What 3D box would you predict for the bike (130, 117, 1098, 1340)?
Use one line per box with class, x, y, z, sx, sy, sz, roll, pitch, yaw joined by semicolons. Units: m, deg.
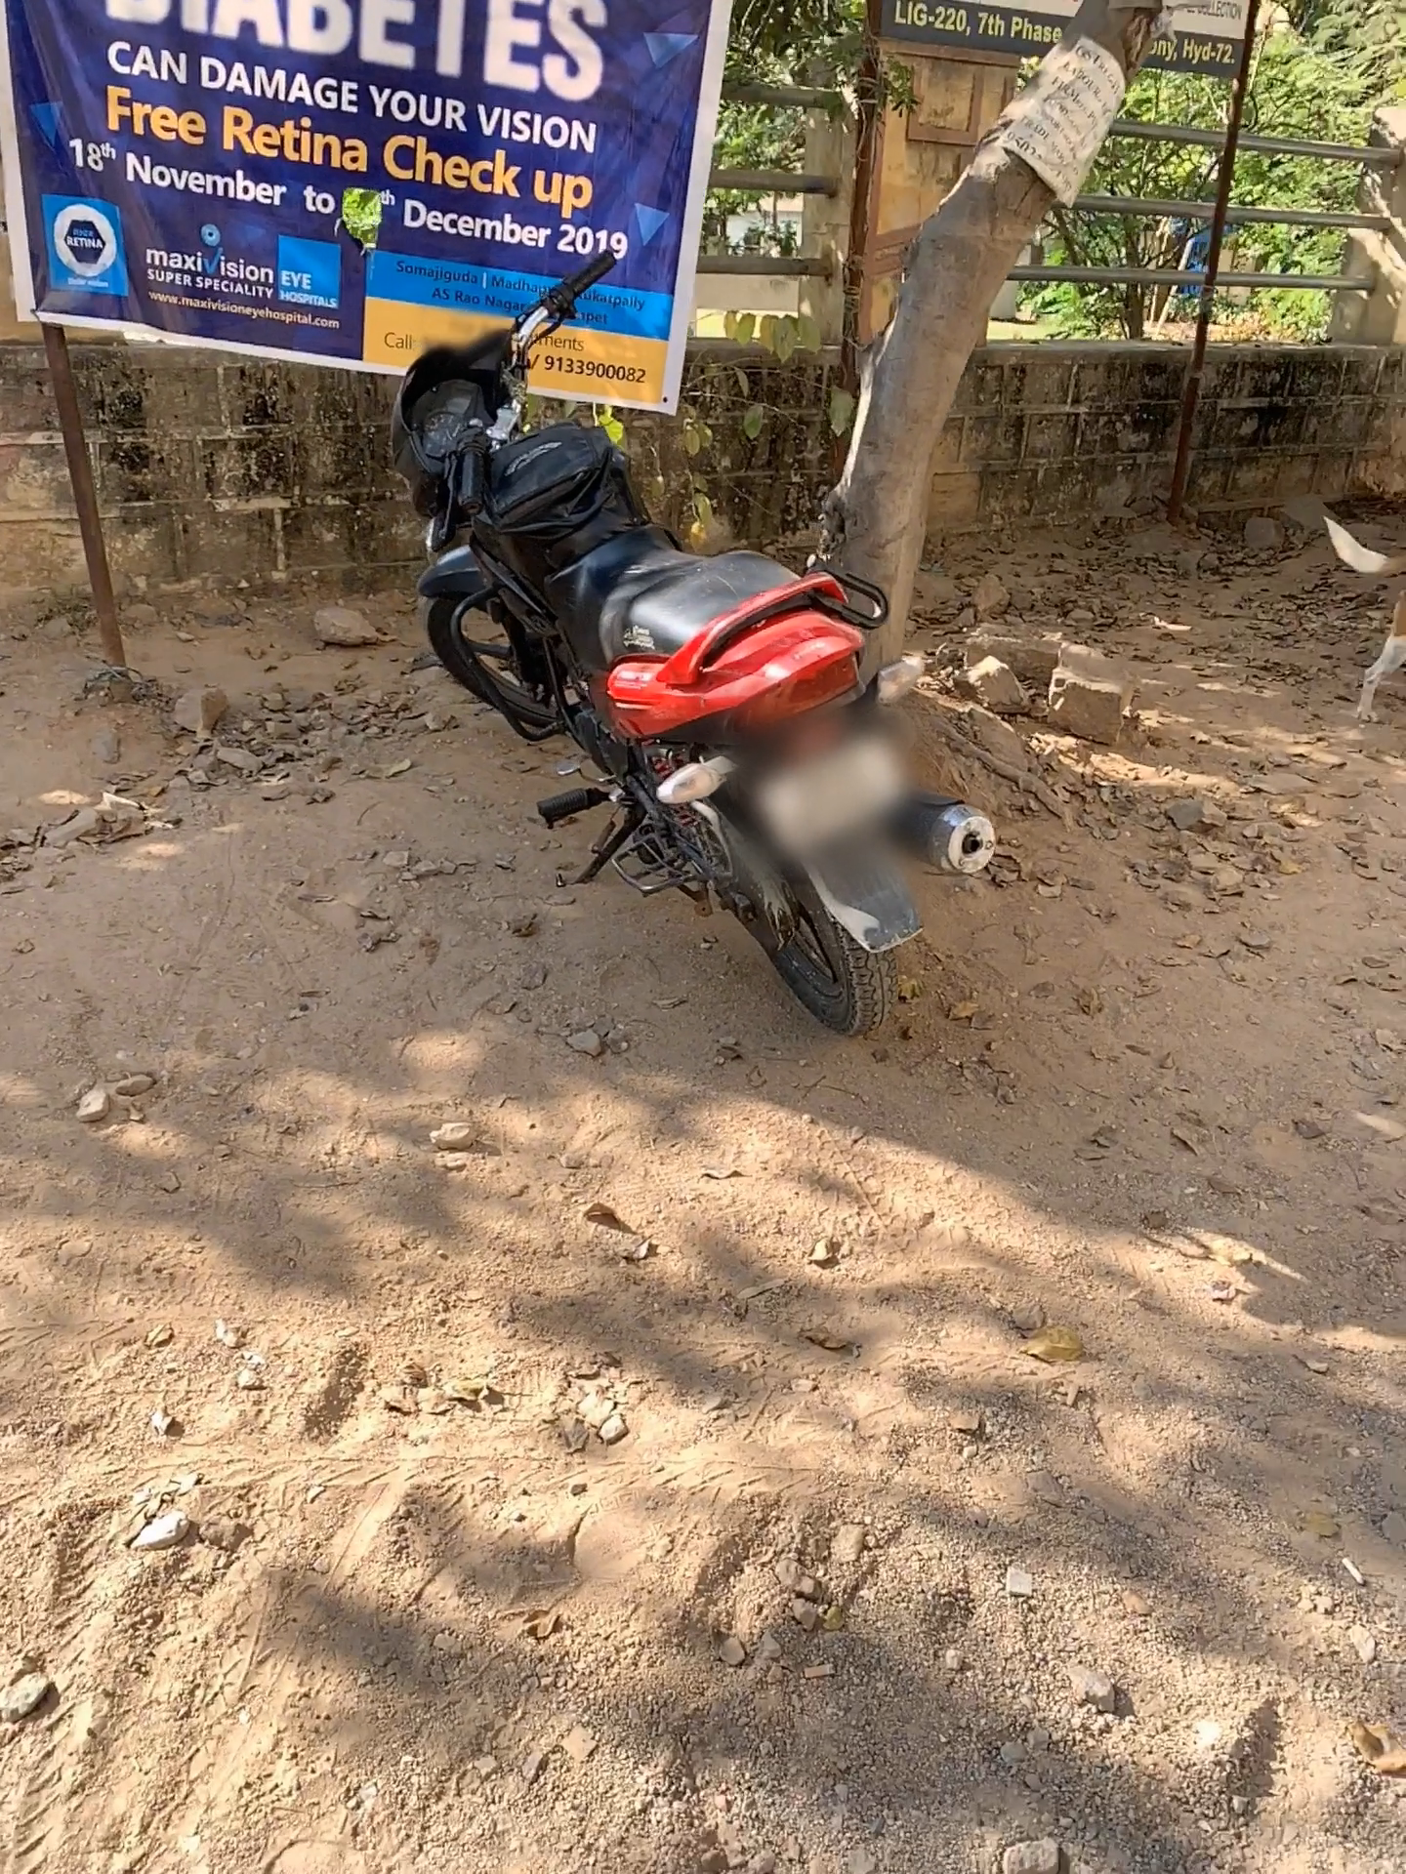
bike;-0.291;-0.519;2.542;0.752;1.441;1.621;-14;34;-30
